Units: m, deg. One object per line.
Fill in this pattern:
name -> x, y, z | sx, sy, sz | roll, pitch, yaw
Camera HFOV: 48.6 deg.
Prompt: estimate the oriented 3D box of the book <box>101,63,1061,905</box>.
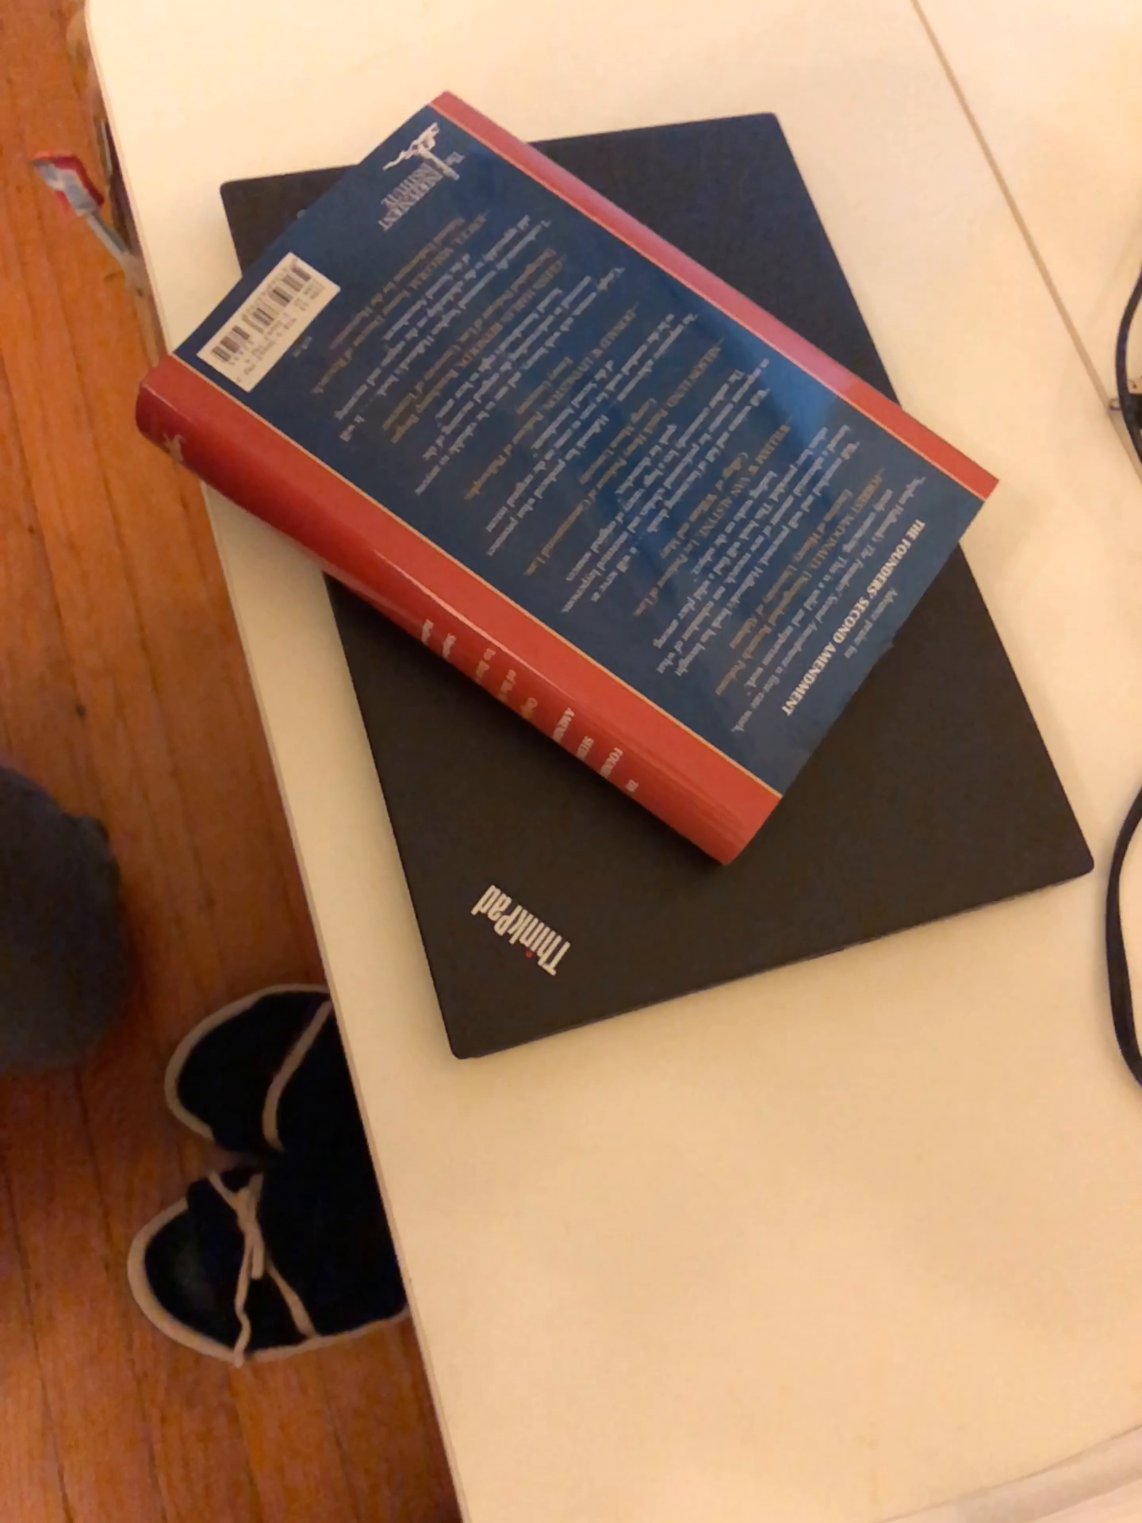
book -> 0.007, -0.097, 0.401 | 0.240, 0.040, 0.170 | 37, 68, 6
